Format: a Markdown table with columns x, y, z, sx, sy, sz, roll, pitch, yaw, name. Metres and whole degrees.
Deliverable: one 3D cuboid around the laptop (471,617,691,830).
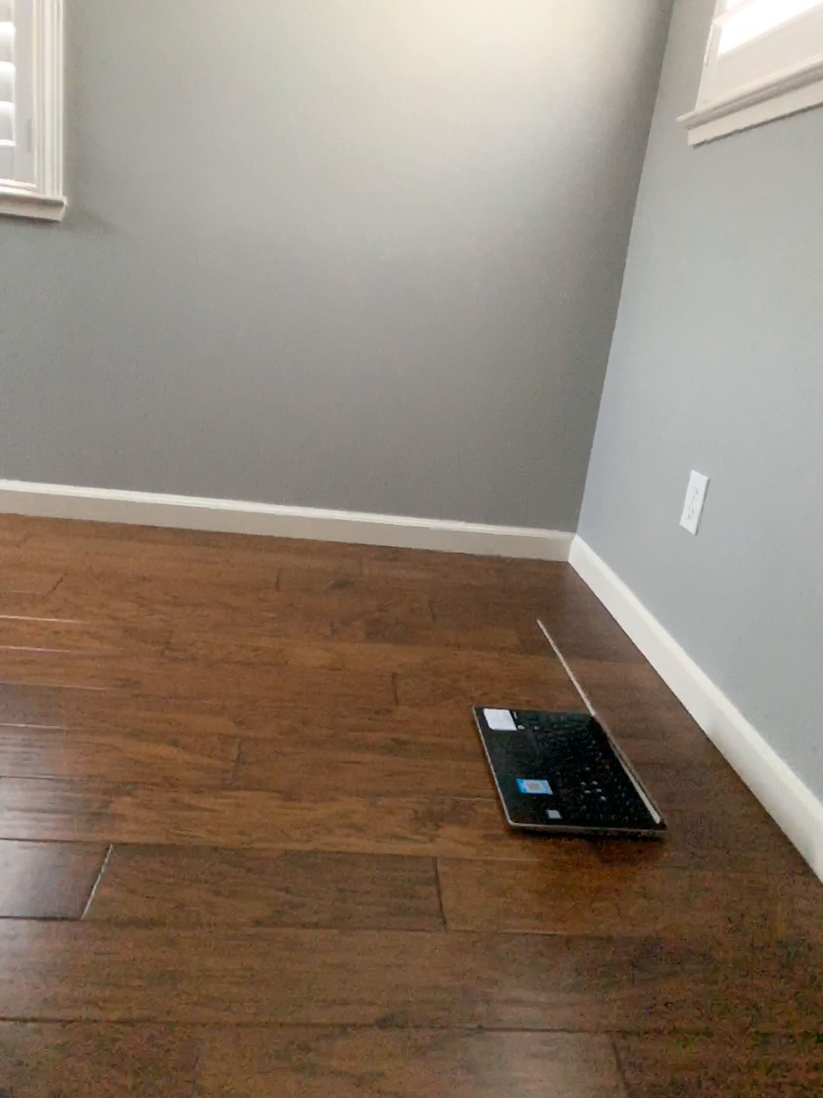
| x | y | z | sx | sy | sz | roll | pitch | yaw | name |
| --- | --- | --- | --- | --- | --- | --- | --- | --- | --- |
| 0.233 | 0.247 | 1.259 | 0.219 | 0.169 | 0.318 | 5 | 17 | -7 | laptop |
